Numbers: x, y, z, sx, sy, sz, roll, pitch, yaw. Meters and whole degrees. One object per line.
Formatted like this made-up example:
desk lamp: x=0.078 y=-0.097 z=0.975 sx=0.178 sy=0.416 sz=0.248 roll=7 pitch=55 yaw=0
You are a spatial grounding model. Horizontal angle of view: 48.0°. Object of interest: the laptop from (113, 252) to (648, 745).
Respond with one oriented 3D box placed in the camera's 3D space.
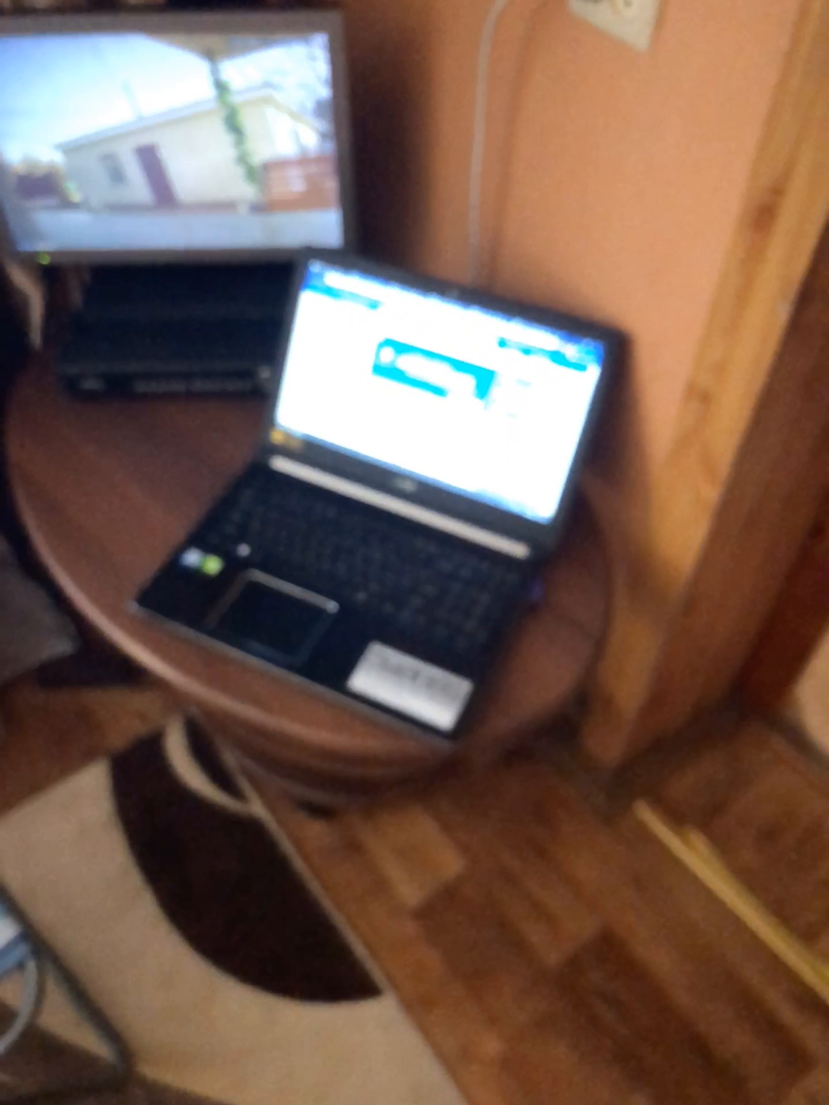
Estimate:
laptop: x=-0.014 y=-0.079 z=0.959 sx=0.372 sy=0.186 sz=0.392 roll=20 pitch=53 yaw=15
